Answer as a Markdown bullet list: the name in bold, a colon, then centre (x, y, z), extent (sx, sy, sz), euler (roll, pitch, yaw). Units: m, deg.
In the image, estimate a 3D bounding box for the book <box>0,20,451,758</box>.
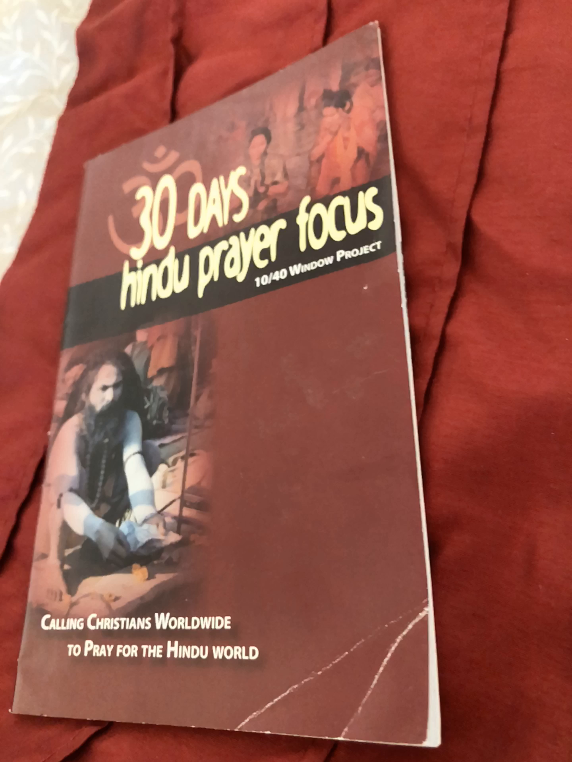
- **book**: centre (-0.029, -0.005, 0.208), extent (0.142, 0.010, 0.210), euler (-11, 67, 26)
